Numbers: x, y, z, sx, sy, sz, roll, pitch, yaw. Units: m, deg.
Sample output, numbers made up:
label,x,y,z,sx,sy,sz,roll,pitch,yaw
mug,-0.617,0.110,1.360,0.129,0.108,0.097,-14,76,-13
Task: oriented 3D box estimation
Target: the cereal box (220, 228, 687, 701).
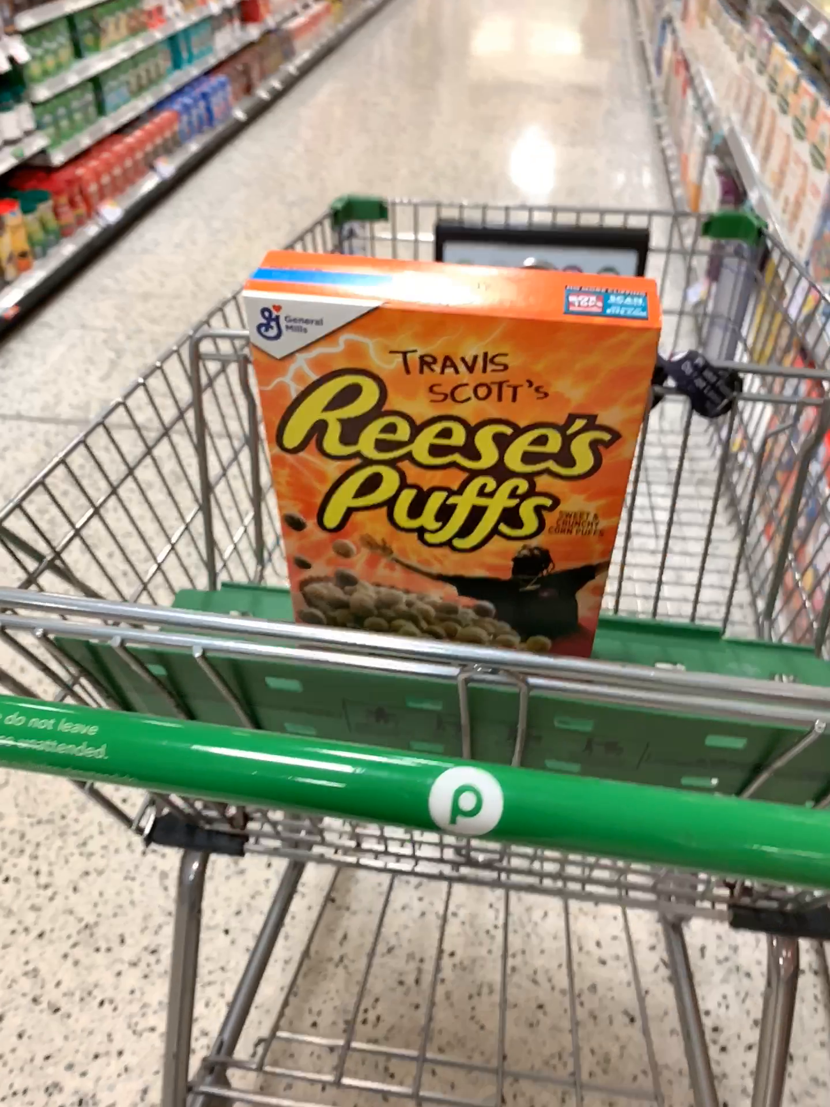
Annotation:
label,x,y,z,sx,sy,sz,roll,pitch,yaw
cereal box,0.019,-0.034,0.498,0.210,0.277,0.051,7,44,8
